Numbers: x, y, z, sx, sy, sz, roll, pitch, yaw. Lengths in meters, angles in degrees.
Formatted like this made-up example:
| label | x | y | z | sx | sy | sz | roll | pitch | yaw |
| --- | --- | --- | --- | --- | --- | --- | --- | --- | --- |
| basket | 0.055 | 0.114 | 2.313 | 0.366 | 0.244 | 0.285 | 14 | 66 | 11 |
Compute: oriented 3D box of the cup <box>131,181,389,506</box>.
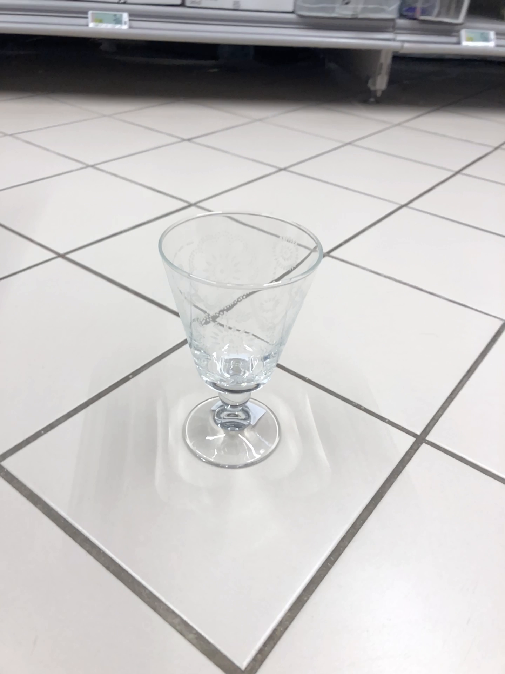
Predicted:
| label | x | y | z | sx | sy | sz | roll | pitch | yaw |
| --- | --- | --- | --- | --- | --- | --- | --- | --- | --- |
| cup | -0.001 | -0.001 | 0.327 | 0.096 | 0.138 | 0.094 | 3 | 34 | -2 |
